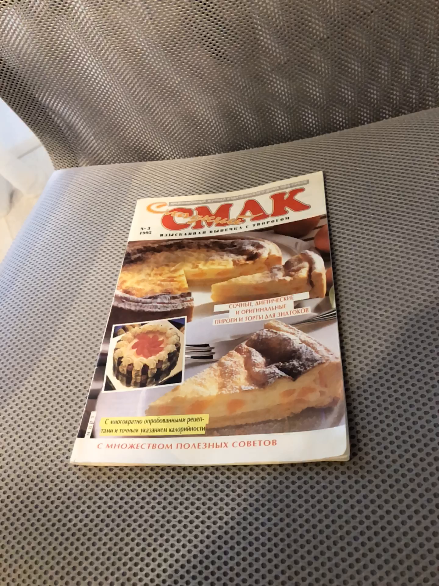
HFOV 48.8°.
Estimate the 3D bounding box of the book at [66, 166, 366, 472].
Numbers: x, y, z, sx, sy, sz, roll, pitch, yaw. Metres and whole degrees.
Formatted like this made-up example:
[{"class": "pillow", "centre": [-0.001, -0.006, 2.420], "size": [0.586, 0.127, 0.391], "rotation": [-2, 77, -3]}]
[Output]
[{"class": "book", "centre": [-0.001, 0.005, 0.343], "size": [0.174, 0.010, 0.232], "rotation": [-7, 52, 15]}]
